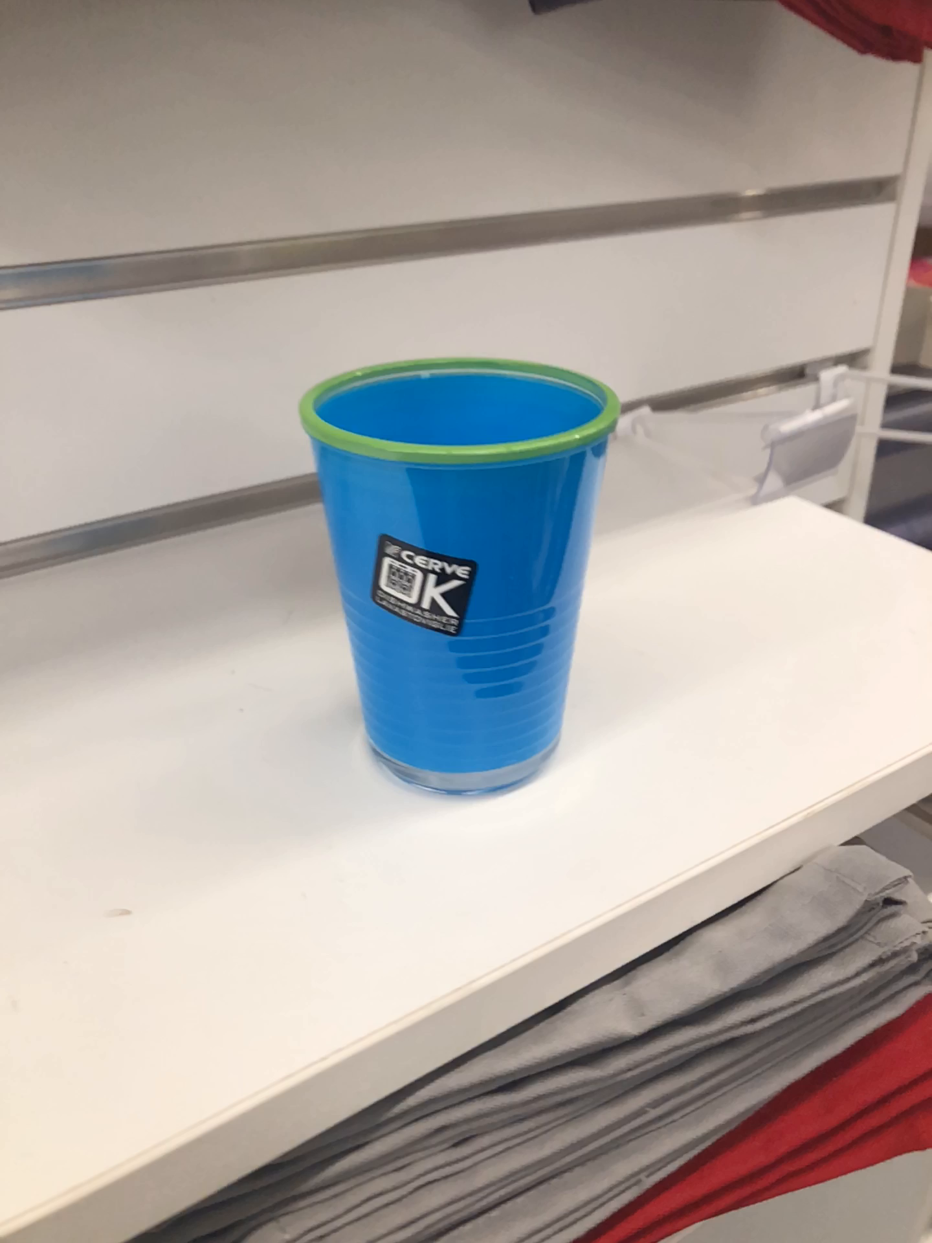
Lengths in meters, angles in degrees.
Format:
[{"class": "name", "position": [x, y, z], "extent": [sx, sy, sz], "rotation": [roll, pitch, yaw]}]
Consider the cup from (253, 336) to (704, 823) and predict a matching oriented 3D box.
[{"class": "cup", "position": [0.000, -0.018, 0.279], "extent": [0.081, 0.090, 0.083], "rotation": [0, 28, 0]}]
